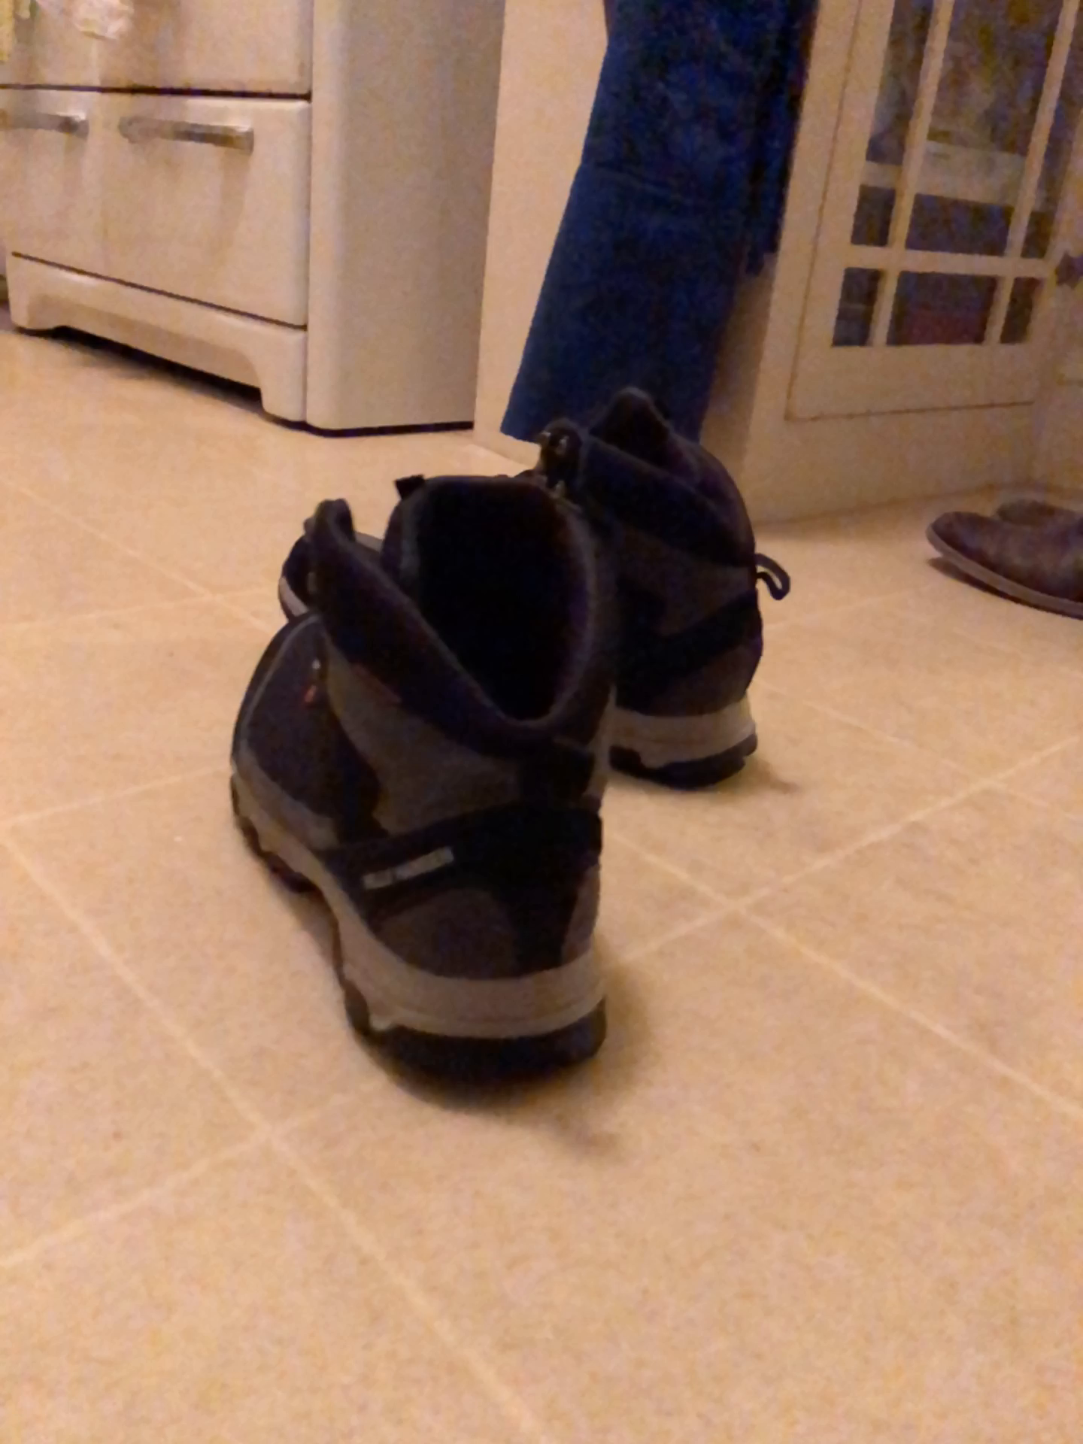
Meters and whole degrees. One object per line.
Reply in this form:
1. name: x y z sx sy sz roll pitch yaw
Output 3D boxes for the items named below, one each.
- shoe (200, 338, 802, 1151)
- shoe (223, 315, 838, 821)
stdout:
1. shoe: -0.052 -0.027 0.474 0.126 0.195 0.310 -3 25 -22
2. shoe: -0.018 -0.099 0.651 0.299 0.195 0.117 17 25 23
